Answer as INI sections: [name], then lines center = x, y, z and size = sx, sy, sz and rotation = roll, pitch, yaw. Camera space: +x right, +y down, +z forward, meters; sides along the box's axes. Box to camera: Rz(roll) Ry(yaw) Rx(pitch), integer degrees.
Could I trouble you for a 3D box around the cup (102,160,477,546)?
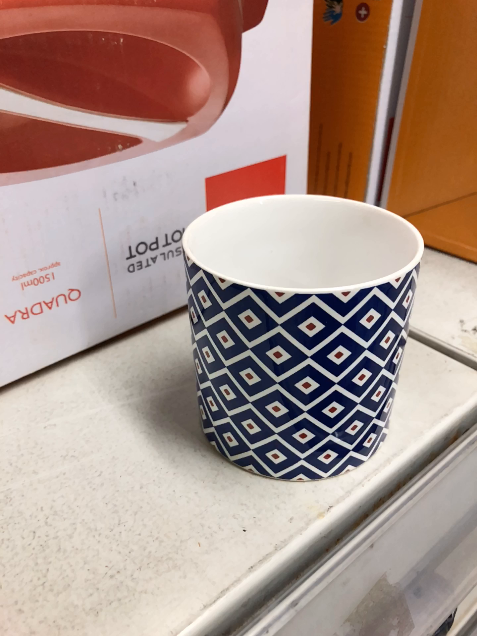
[cup]
center = 0.024, 0.000, 0.200
size = 0.111, 0.079, 0.080
rotation = -25, 39, -33
